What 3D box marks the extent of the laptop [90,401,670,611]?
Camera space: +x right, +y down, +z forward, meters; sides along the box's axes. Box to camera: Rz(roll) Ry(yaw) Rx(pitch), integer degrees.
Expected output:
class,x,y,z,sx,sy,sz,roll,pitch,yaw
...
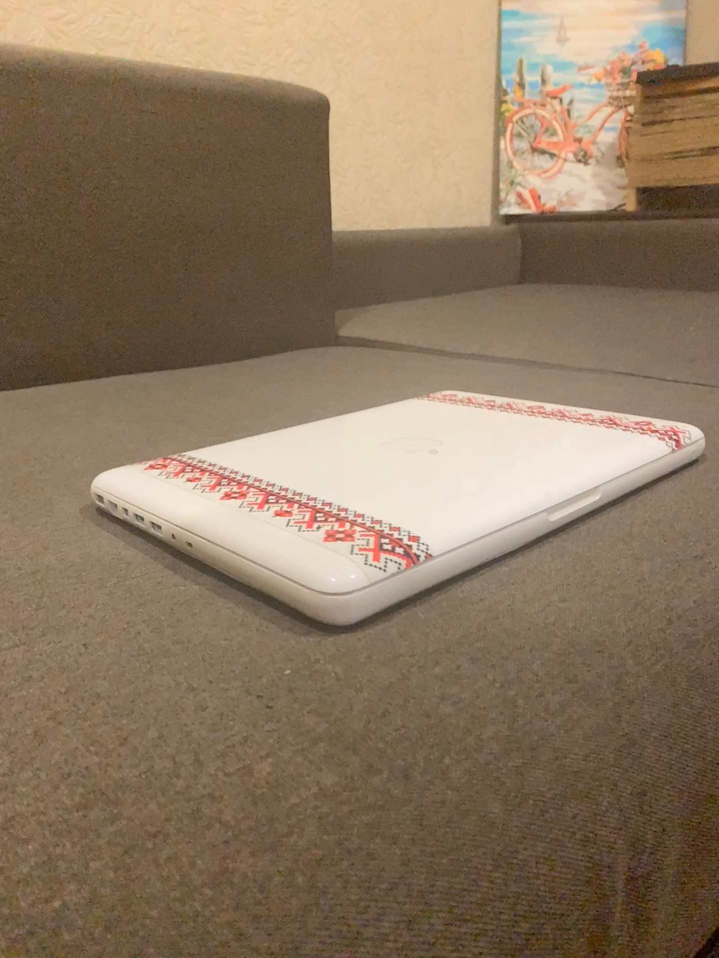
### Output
class,x,y,z,sx,sy,sz,roll,pitch,yaw
laptop,0.026,-0.009,0.484,0.325,0.003,0.222,-17,24,-42
